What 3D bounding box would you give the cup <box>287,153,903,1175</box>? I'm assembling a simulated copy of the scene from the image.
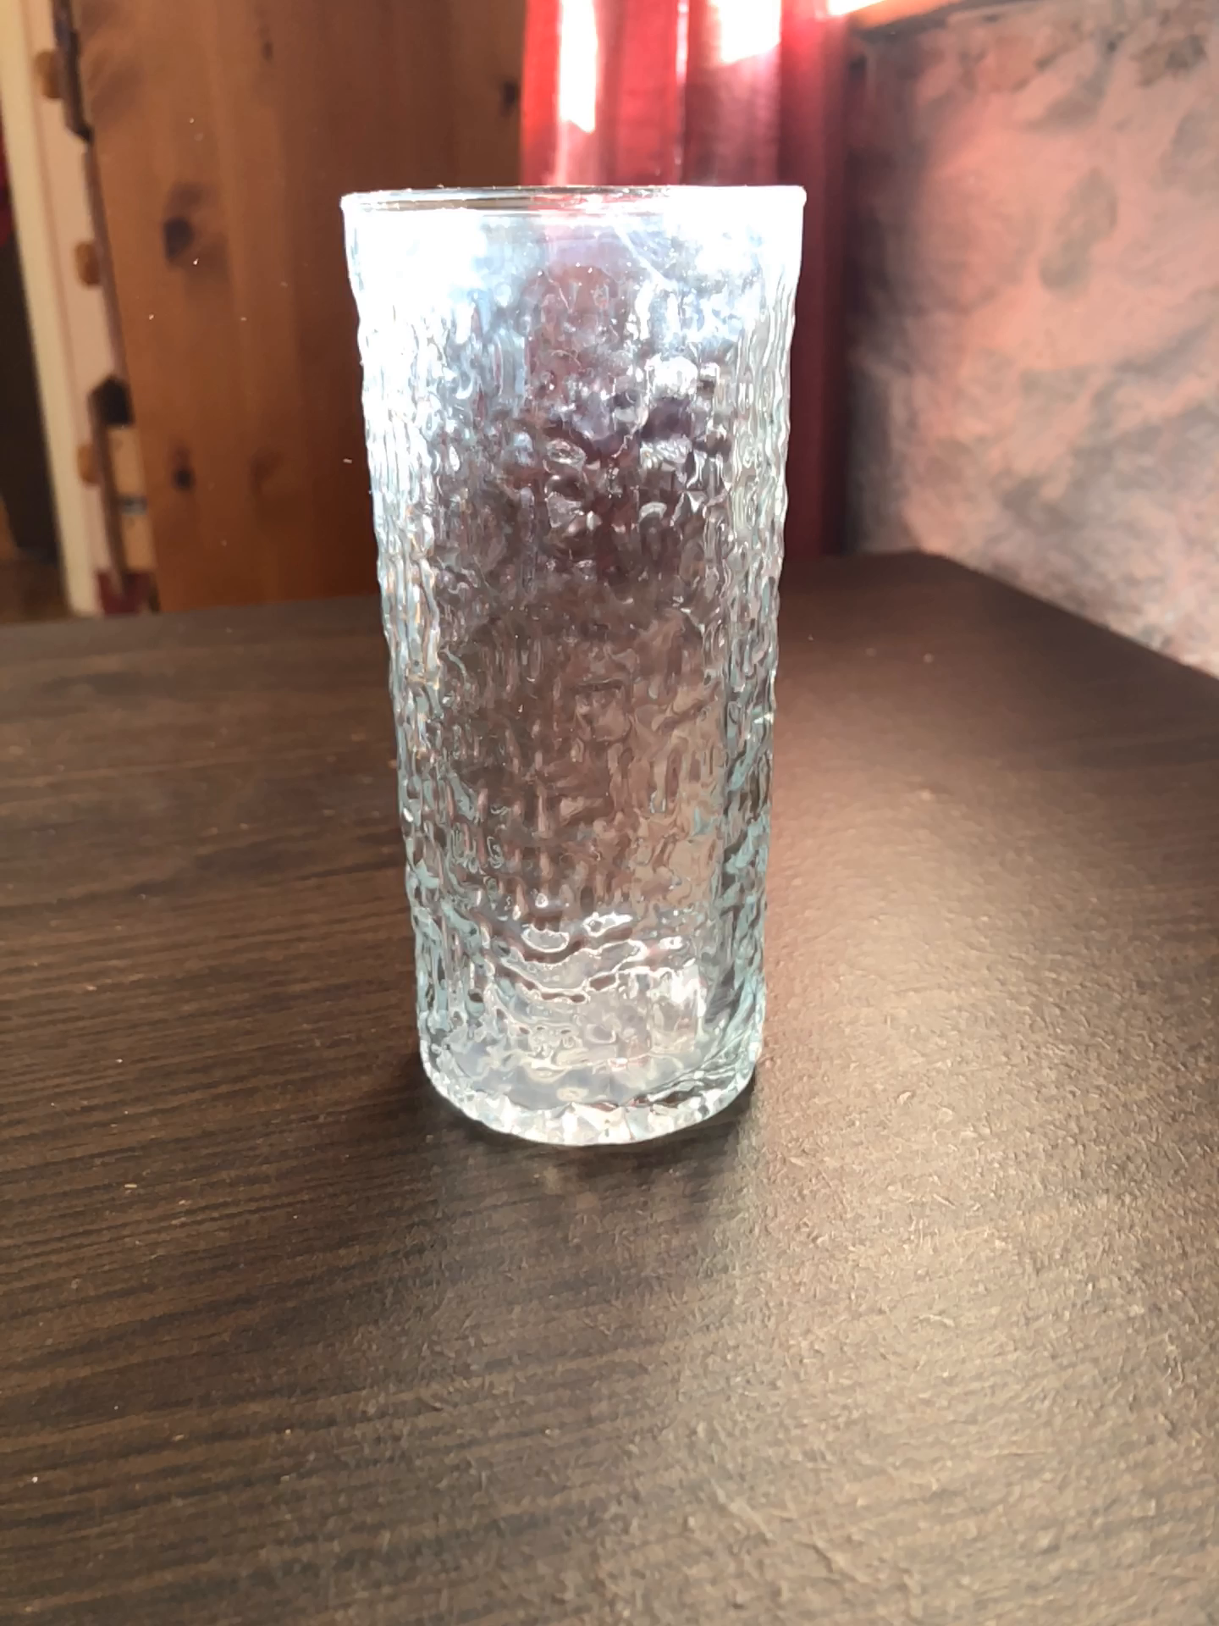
[{"bbox_3d":[-0.006,-0.024,0.205,0.068,0.131,0.070,1,22,0],"label":"cup"}]
